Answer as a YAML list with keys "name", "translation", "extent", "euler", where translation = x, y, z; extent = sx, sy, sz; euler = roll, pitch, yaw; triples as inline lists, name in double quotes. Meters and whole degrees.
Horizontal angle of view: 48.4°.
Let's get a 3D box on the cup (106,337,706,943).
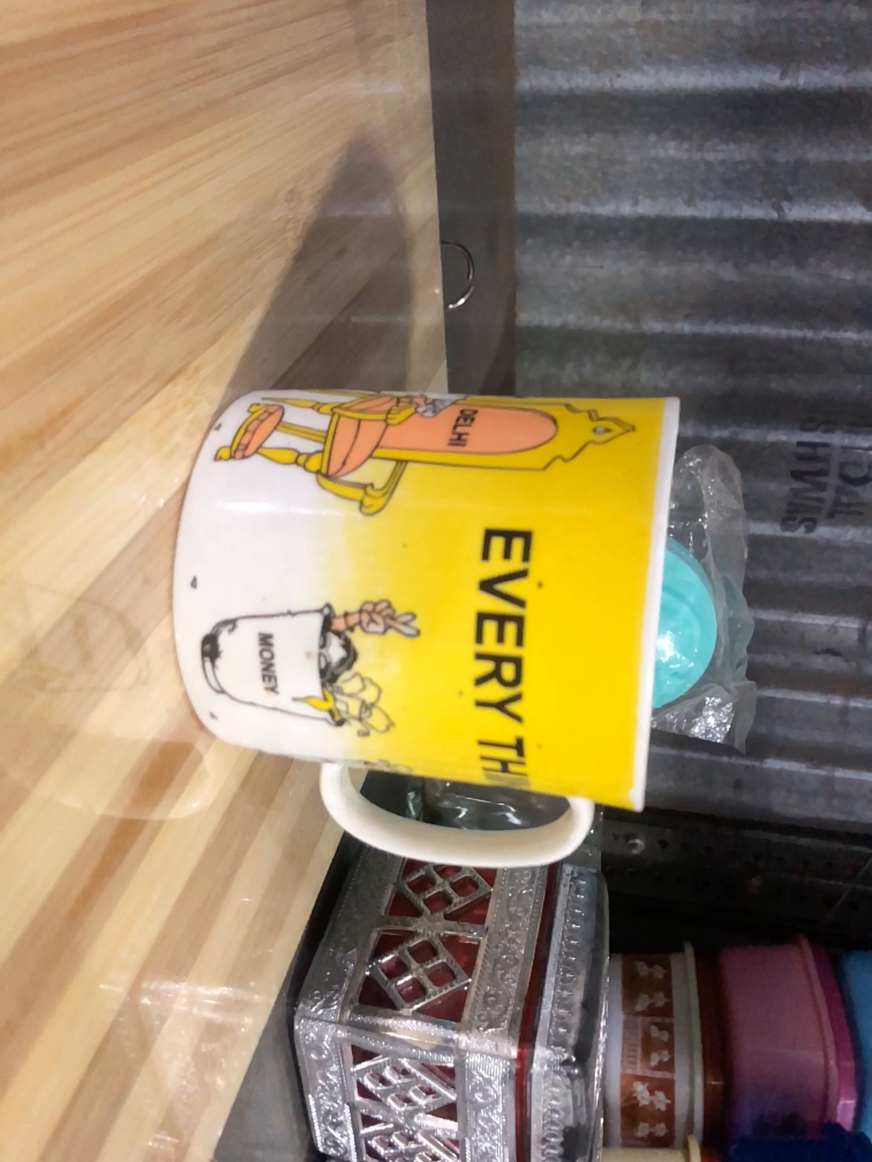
- name: "cup"
  translation: [0.003, 0.014, 0.219]
  extent: [0.070, 0.100, 0.110]
  euler: [-73, 163, -47]
